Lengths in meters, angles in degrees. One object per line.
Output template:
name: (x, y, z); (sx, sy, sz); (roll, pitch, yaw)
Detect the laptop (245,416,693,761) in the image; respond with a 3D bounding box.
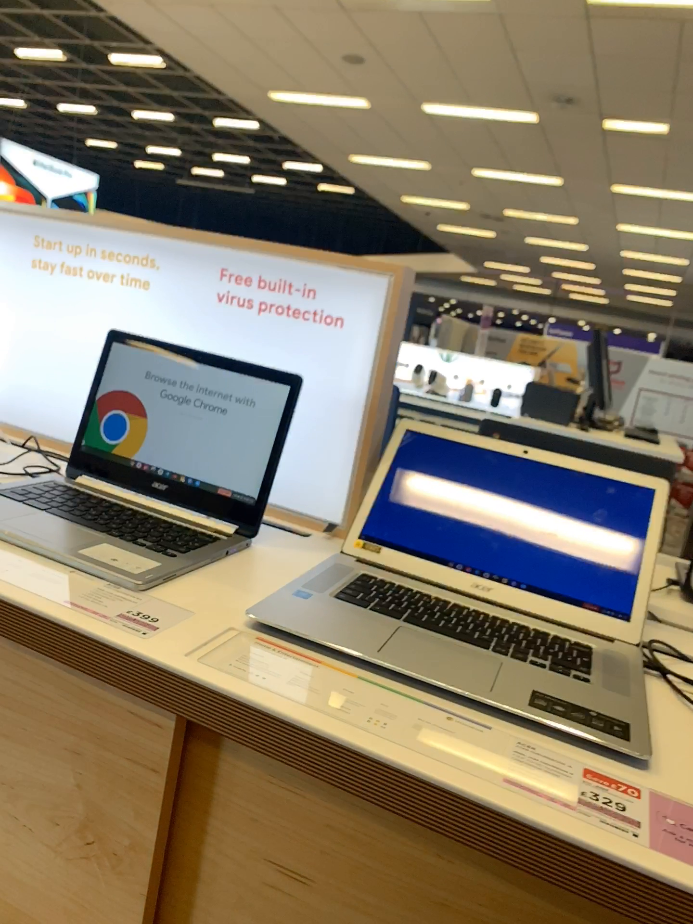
laptop: (0.167, 0.087, 0.824); (0.376, 0.175, 0.426); (15, 11, 18)

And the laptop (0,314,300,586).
laptop: (-0.274, -0.032, 0.888); (0.307, 0.217, 0.278); (15, 11, 19)
